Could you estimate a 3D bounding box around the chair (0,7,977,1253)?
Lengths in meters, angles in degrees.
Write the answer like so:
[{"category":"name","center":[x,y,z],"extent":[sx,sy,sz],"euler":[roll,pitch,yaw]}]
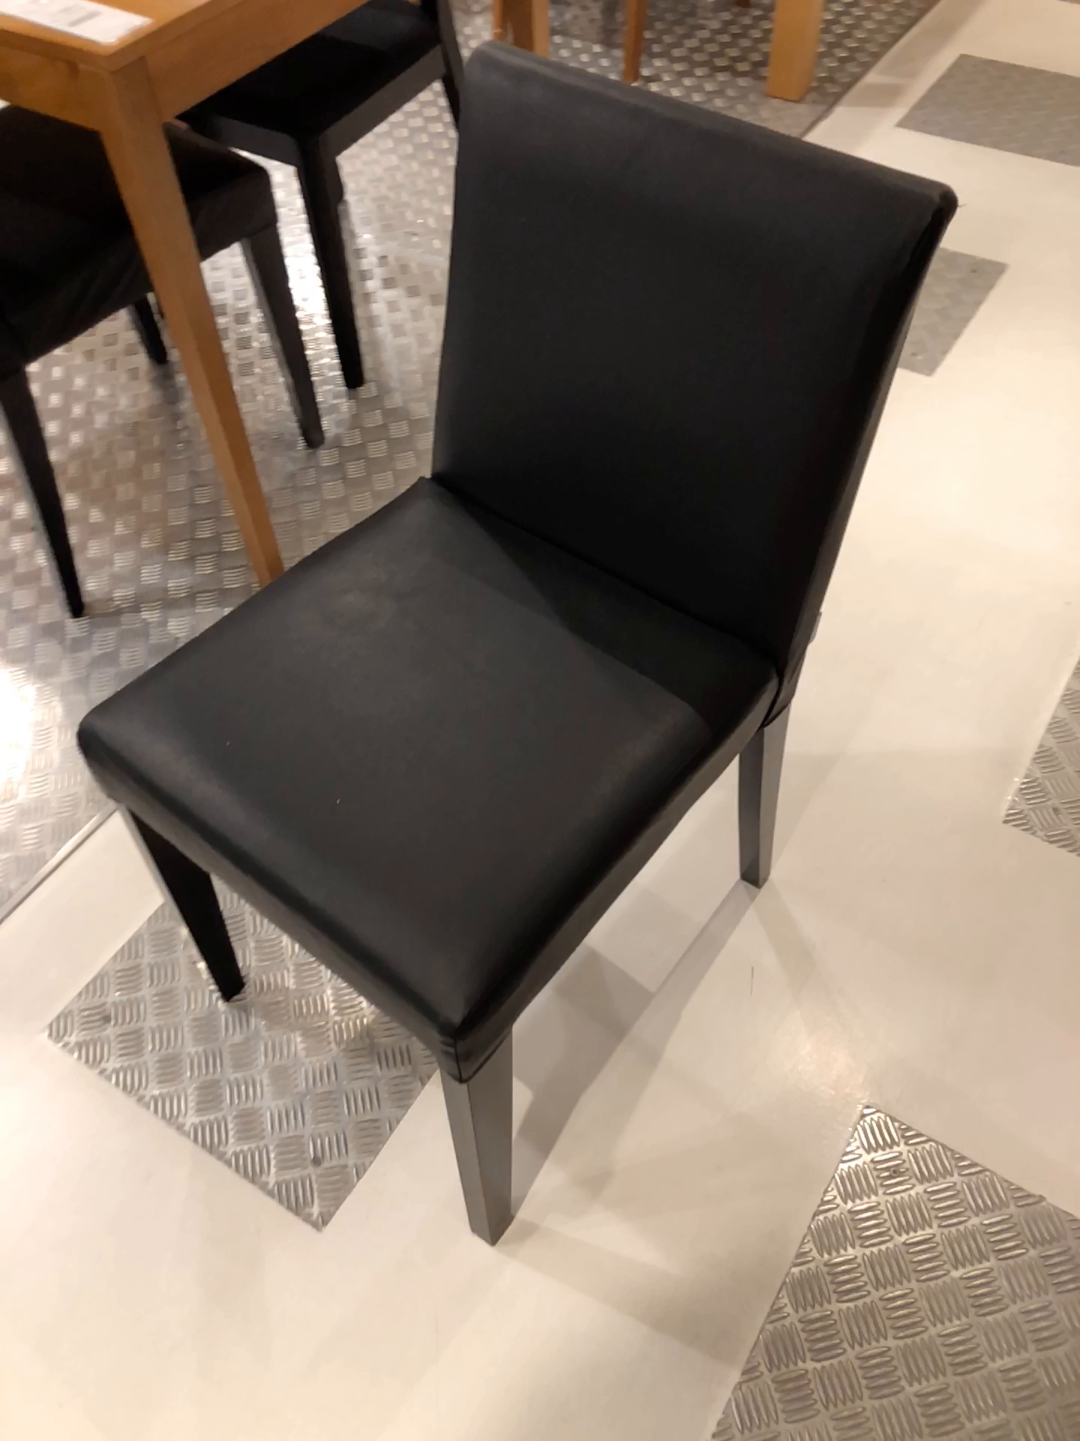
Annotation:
[{"category":"chair","center":[-0.066,-0.030,1.044],"extent":[0.471,0.825,0.552],"euler":[33,60,25]}]
